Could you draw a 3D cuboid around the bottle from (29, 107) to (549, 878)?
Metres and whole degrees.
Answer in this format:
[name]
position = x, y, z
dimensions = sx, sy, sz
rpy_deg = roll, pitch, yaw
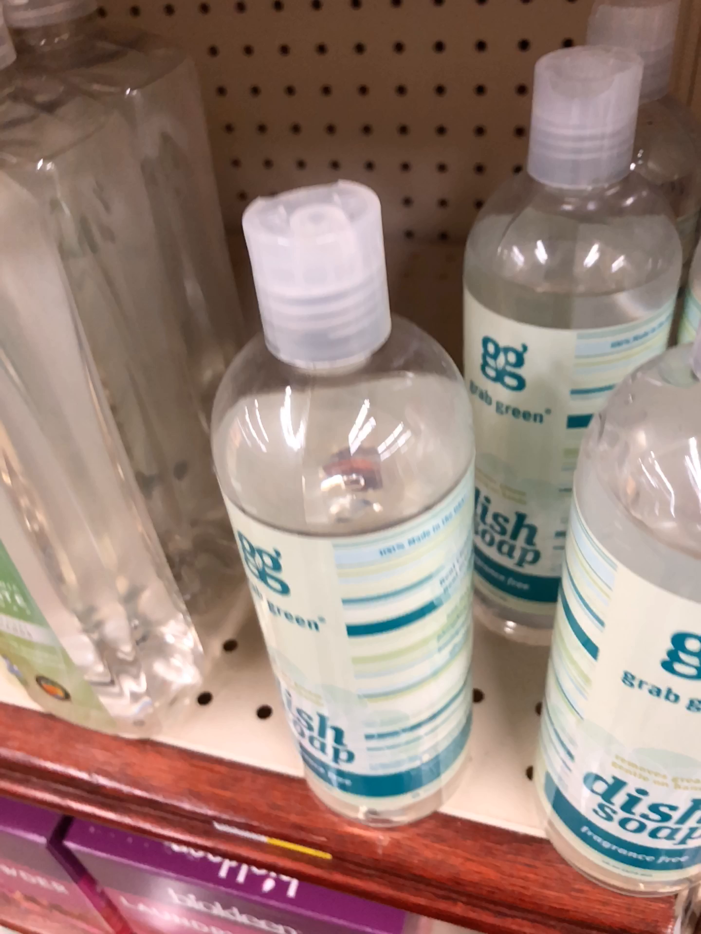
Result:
[bottle]
position = -0.001, 0.024, 0.208
dimensions = 0.070, 0.199, 0.060
rpy_deg = 25, 52, 30
